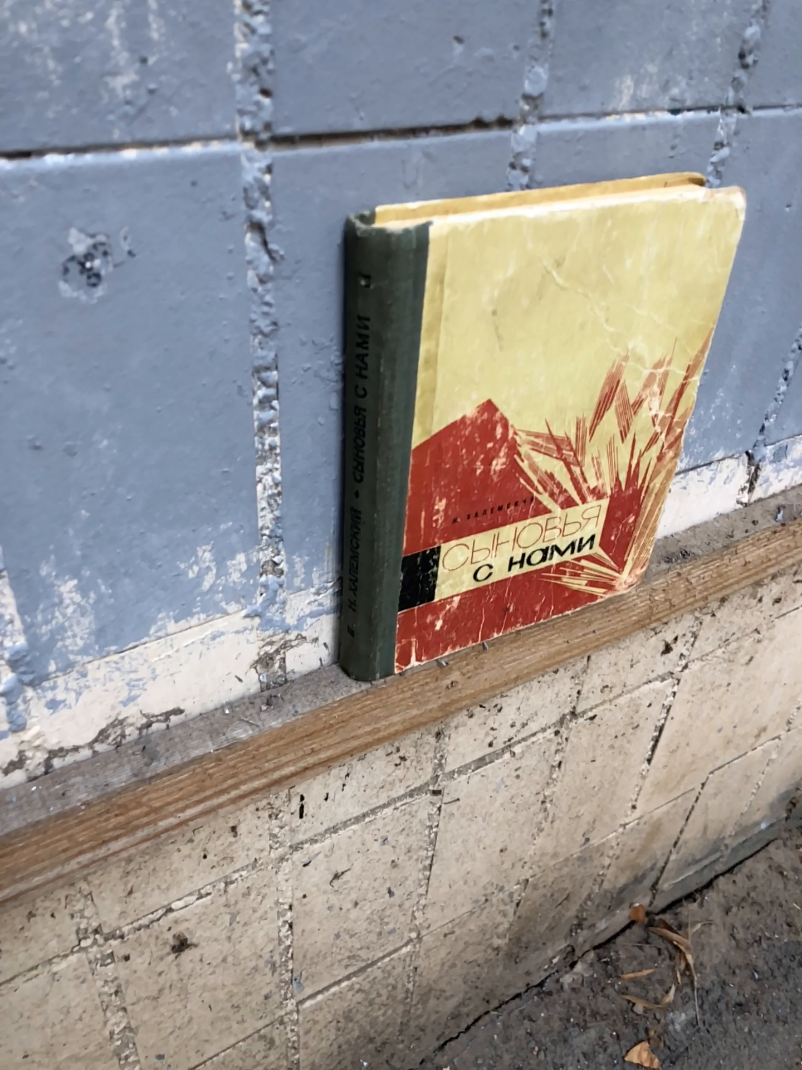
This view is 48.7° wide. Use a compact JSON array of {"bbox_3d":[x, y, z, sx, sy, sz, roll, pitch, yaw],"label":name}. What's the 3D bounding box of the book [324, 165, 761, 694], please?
[{"bbox_3d":[0.044,-0.036,0.312,0.140,0.162,0.032,-16,38,-25],"label":"book"}]
